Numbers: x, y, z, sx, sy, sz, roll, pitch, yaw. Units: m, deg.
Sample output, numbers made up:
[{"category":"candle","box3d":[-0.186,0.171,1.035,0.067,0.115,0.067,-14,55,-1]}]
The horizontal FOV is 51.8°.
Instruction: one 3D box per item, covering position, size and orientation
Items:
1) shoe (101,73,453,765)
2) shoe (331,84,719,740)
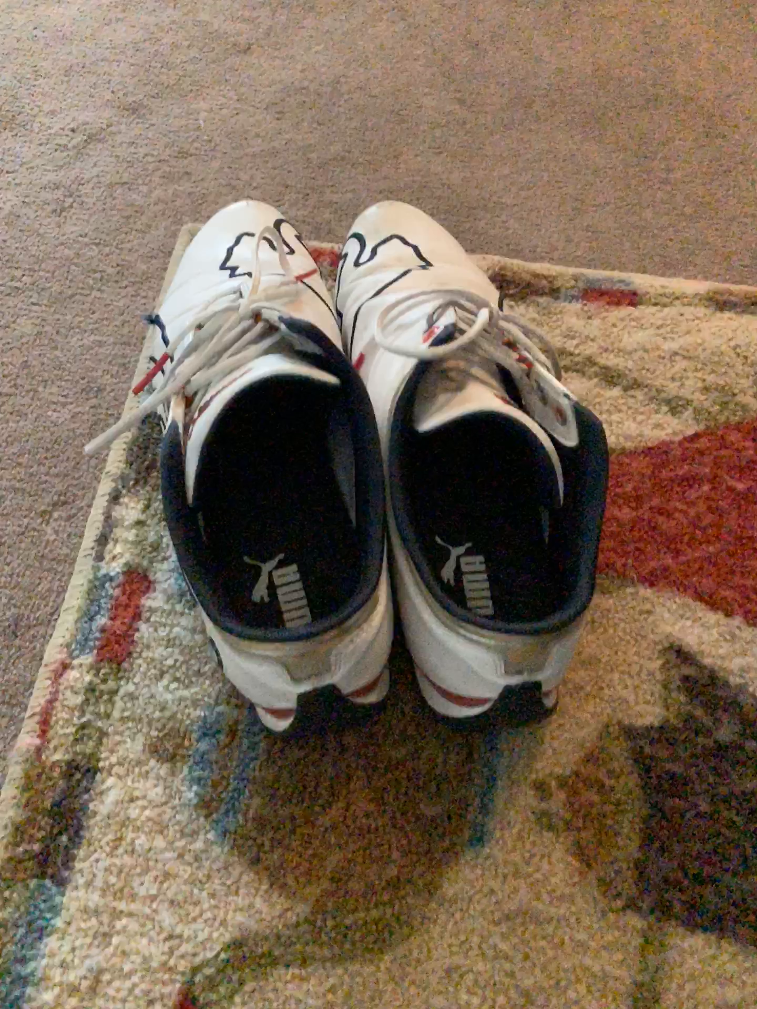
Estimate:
[{"category":"shoe","box3d":[-0.056,-0.050,0.351,0.100,0.106,0.292,-8,63,-9]},{"category":"shoe","box3d":[0.041,-0.054,0.365,0.100,0.106,0.292,-4,62,-7]}]
